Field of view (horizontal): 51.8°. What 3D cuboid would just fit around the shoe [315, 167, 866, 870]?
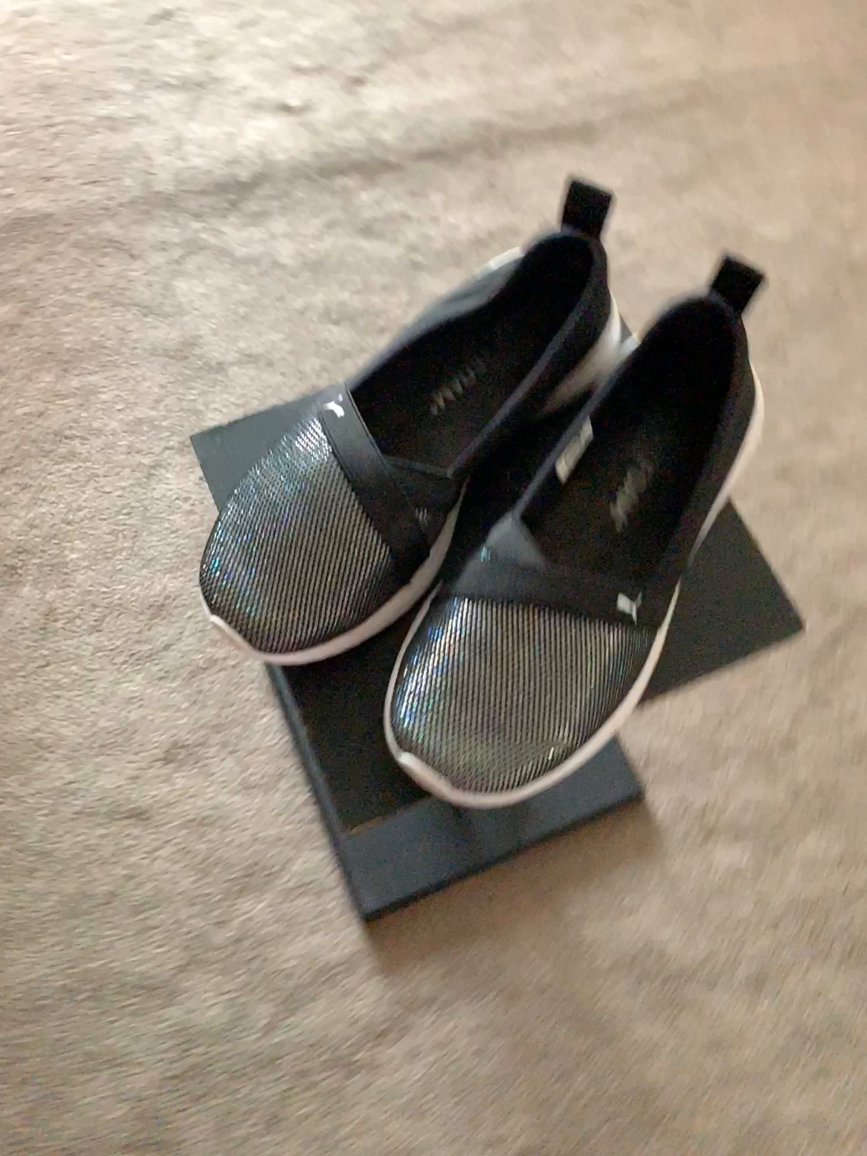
[{"bbox_3d":[0.074,-0.025,0.361,0.100,0.100,0.257,34,71,9],"label":"shoe"}]

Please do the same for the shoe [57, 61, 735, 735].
[{"bbox_3d":[-0.005,-0.076,0.370,0.100,0.100,0.261,39,72,11],"label":"shoe"}]
